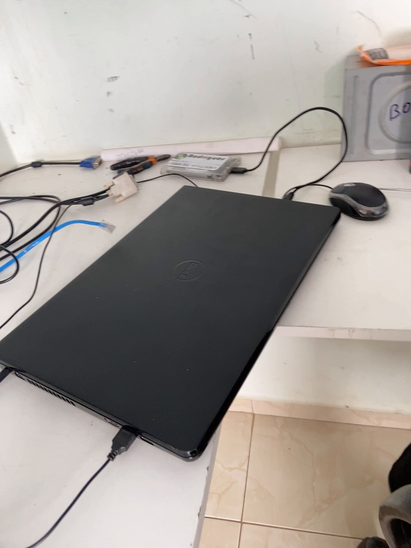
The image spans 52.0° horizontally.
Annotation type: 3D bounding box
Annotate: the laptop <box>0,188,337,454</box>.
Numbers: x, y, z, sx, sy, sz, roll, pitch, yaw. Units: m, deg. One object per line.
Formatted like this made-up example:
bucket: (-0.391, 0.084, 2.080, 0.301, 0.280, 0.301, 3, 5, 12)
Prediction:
laptop: (-0.026, -0.002, 0.504, 0.260, 0.003, 0.377, 13, 43, 29)
